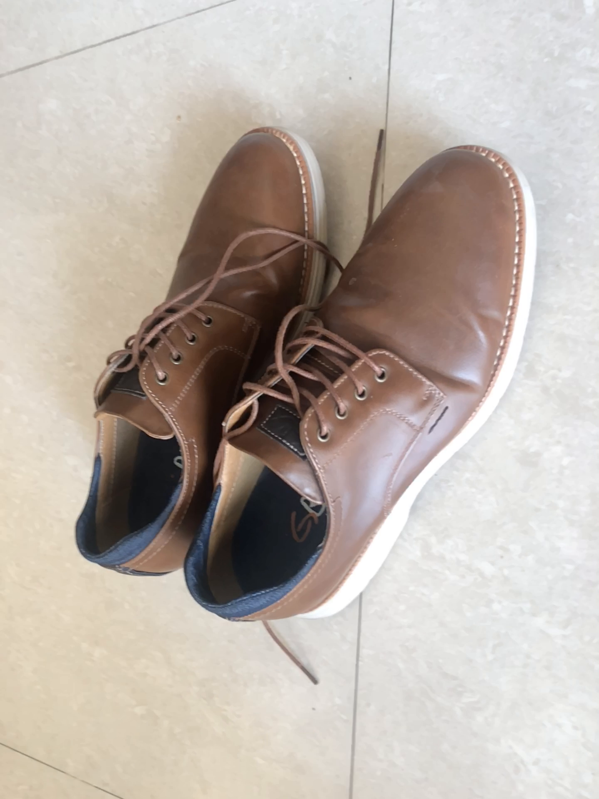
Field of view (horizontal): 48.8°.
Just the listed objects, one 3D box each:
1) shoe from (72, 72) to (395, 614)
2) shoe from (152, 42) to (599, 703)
[{"bbox_3d":[-0.042,-0.036,0.436,0.100,0.100,0.310,17,95,30],"label":"shoe"},{"bbox_3d":[0.044,-0.009,0.365,0.100,0.100,0.310,30,101,28],"label":"shoe"}]
